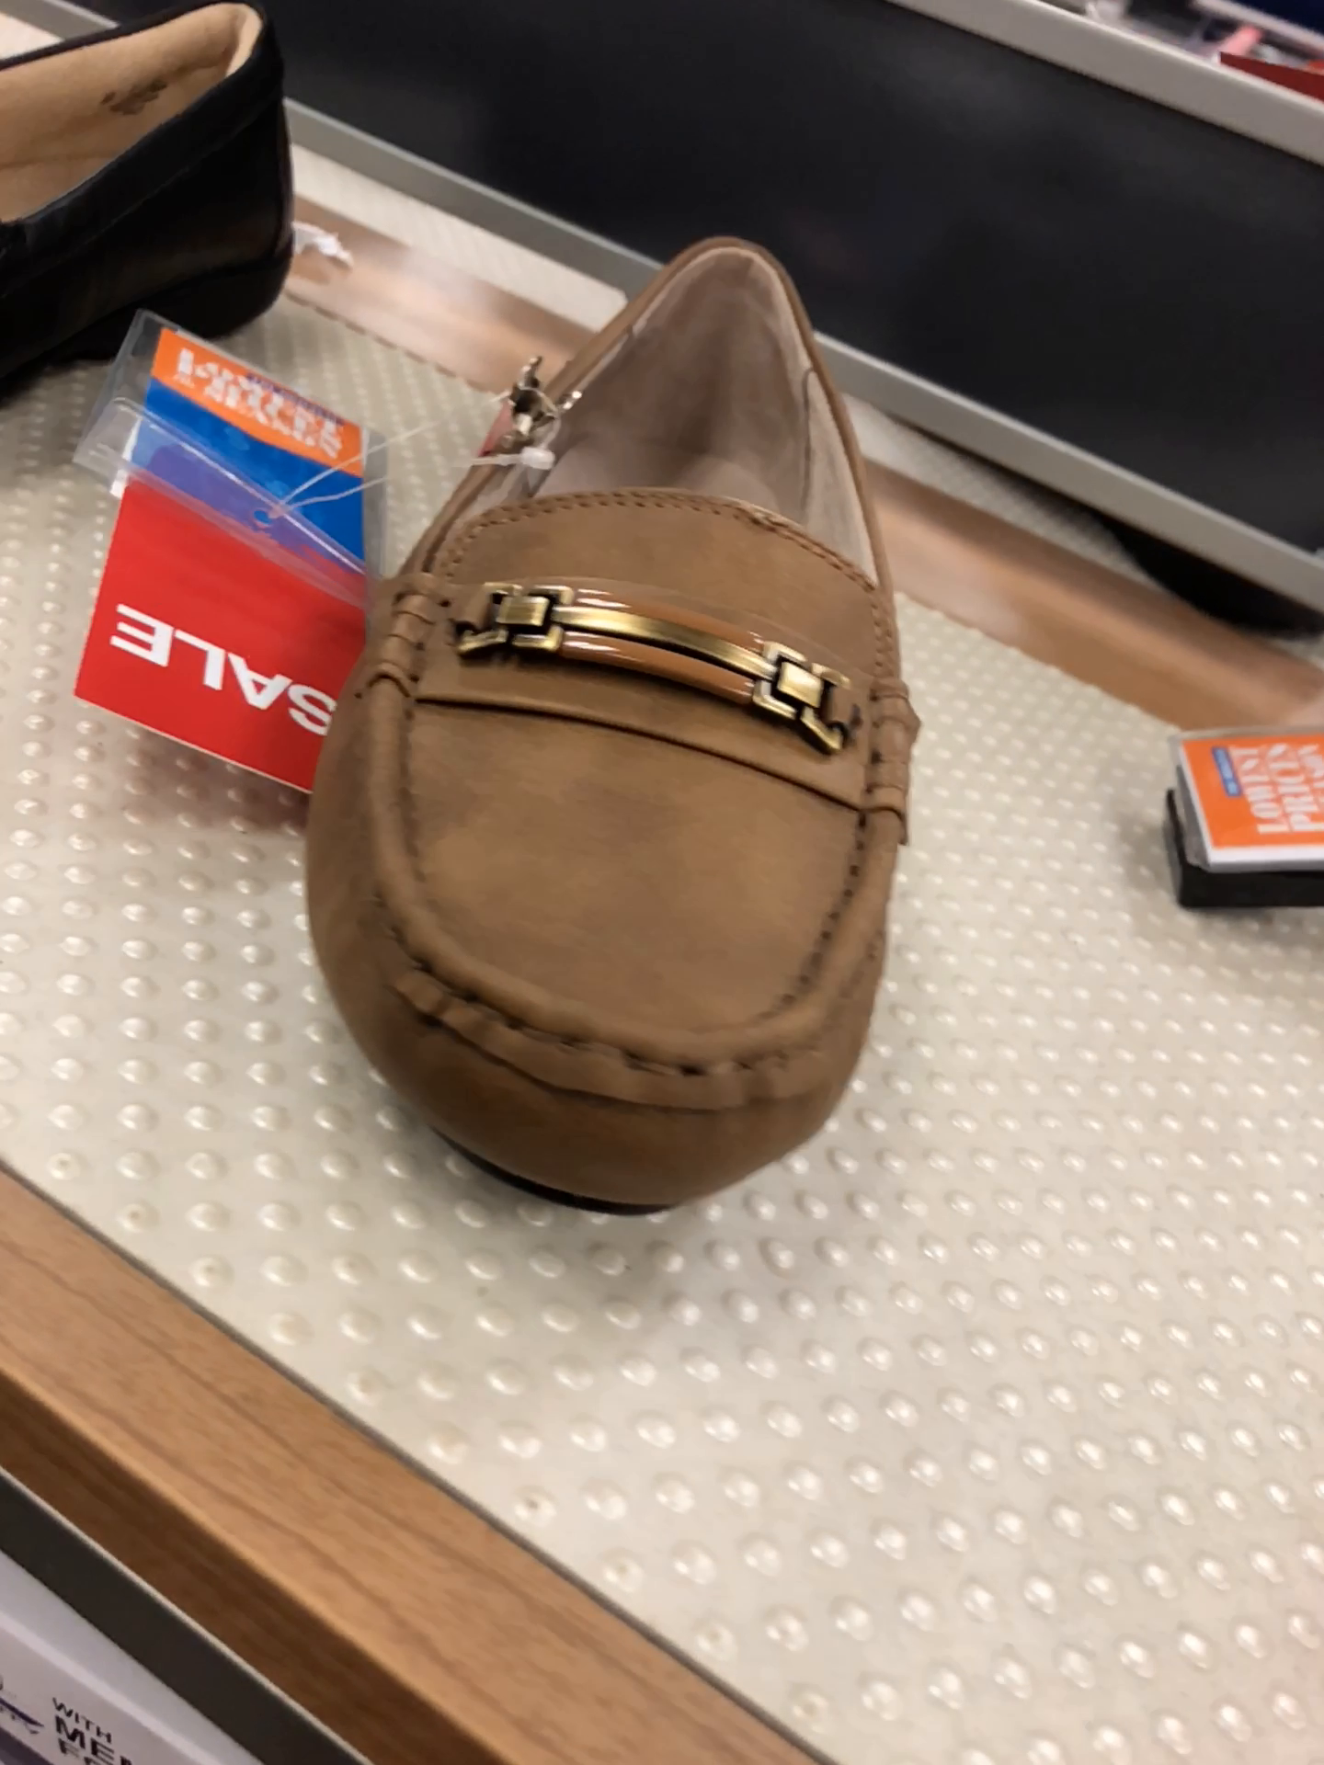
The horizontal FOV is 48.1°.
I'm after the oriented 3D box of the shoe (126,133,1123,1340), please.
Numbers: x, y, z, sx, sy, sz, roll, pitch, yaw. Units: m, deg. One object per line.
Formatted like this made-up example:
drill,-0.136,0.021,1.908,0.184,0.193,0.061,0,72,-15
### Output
shoe,-0.010,-0.052,0.252,0.087,0.079,0.236,13,34,-10
